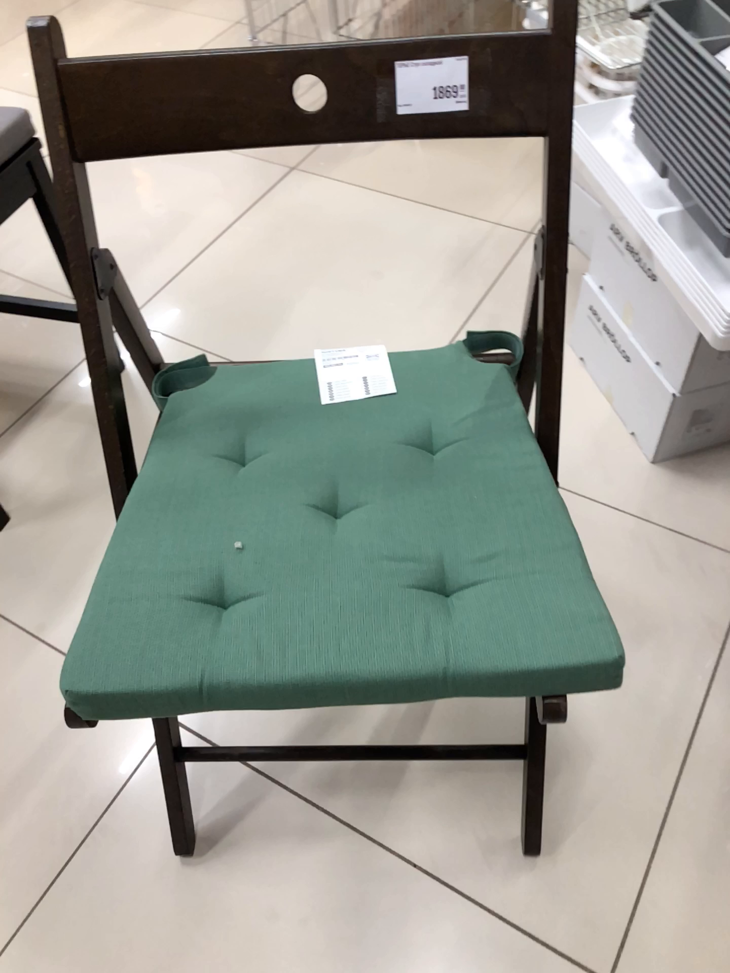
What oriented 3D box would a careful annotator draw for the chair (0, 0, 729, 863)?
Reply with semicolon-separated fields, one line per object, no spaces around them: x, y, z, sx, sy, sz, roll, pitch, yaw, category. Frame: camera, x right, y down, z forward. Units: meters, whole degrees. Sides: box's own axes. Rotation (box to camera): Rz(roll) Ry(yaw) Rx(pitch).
-0.032;0.004;0.745;0.440;0.686;0.483;-2;52;3;chair
